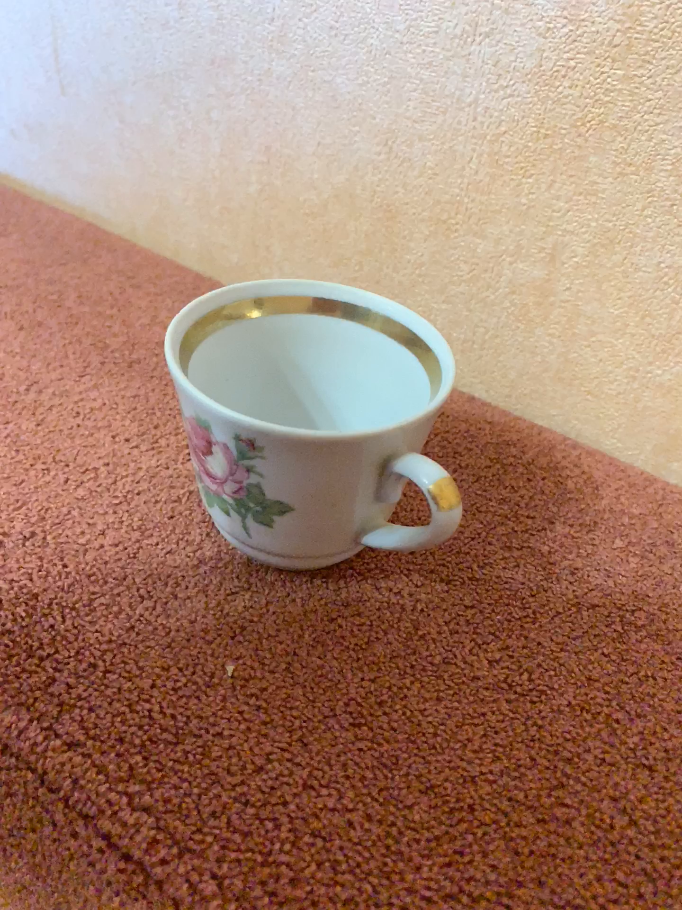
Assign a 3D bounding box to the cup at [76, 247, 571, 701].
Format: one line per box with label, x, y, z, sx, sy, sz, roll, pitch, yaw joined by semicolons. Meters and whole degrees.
cup;-0.007;-0.004;0.169;0.067;0.047;0.086;-29;50;-35
